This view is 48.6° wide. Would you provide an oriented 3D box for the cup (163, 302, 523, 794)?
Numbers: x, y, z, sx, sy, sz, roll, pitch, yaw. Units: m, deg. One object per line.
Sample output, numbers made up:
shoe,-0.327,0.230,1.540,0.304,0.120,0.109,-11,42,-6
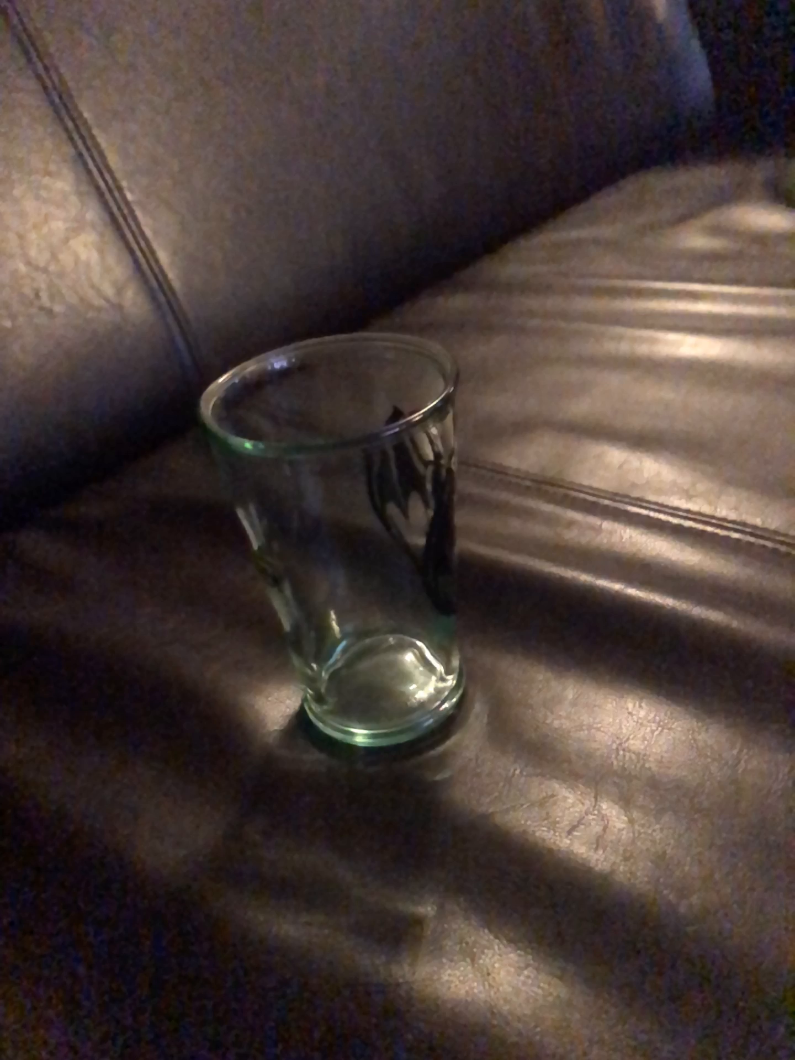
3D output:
cup,-0.018,0.003,0.287,0.087,0.117,0.085,-6,32,3
